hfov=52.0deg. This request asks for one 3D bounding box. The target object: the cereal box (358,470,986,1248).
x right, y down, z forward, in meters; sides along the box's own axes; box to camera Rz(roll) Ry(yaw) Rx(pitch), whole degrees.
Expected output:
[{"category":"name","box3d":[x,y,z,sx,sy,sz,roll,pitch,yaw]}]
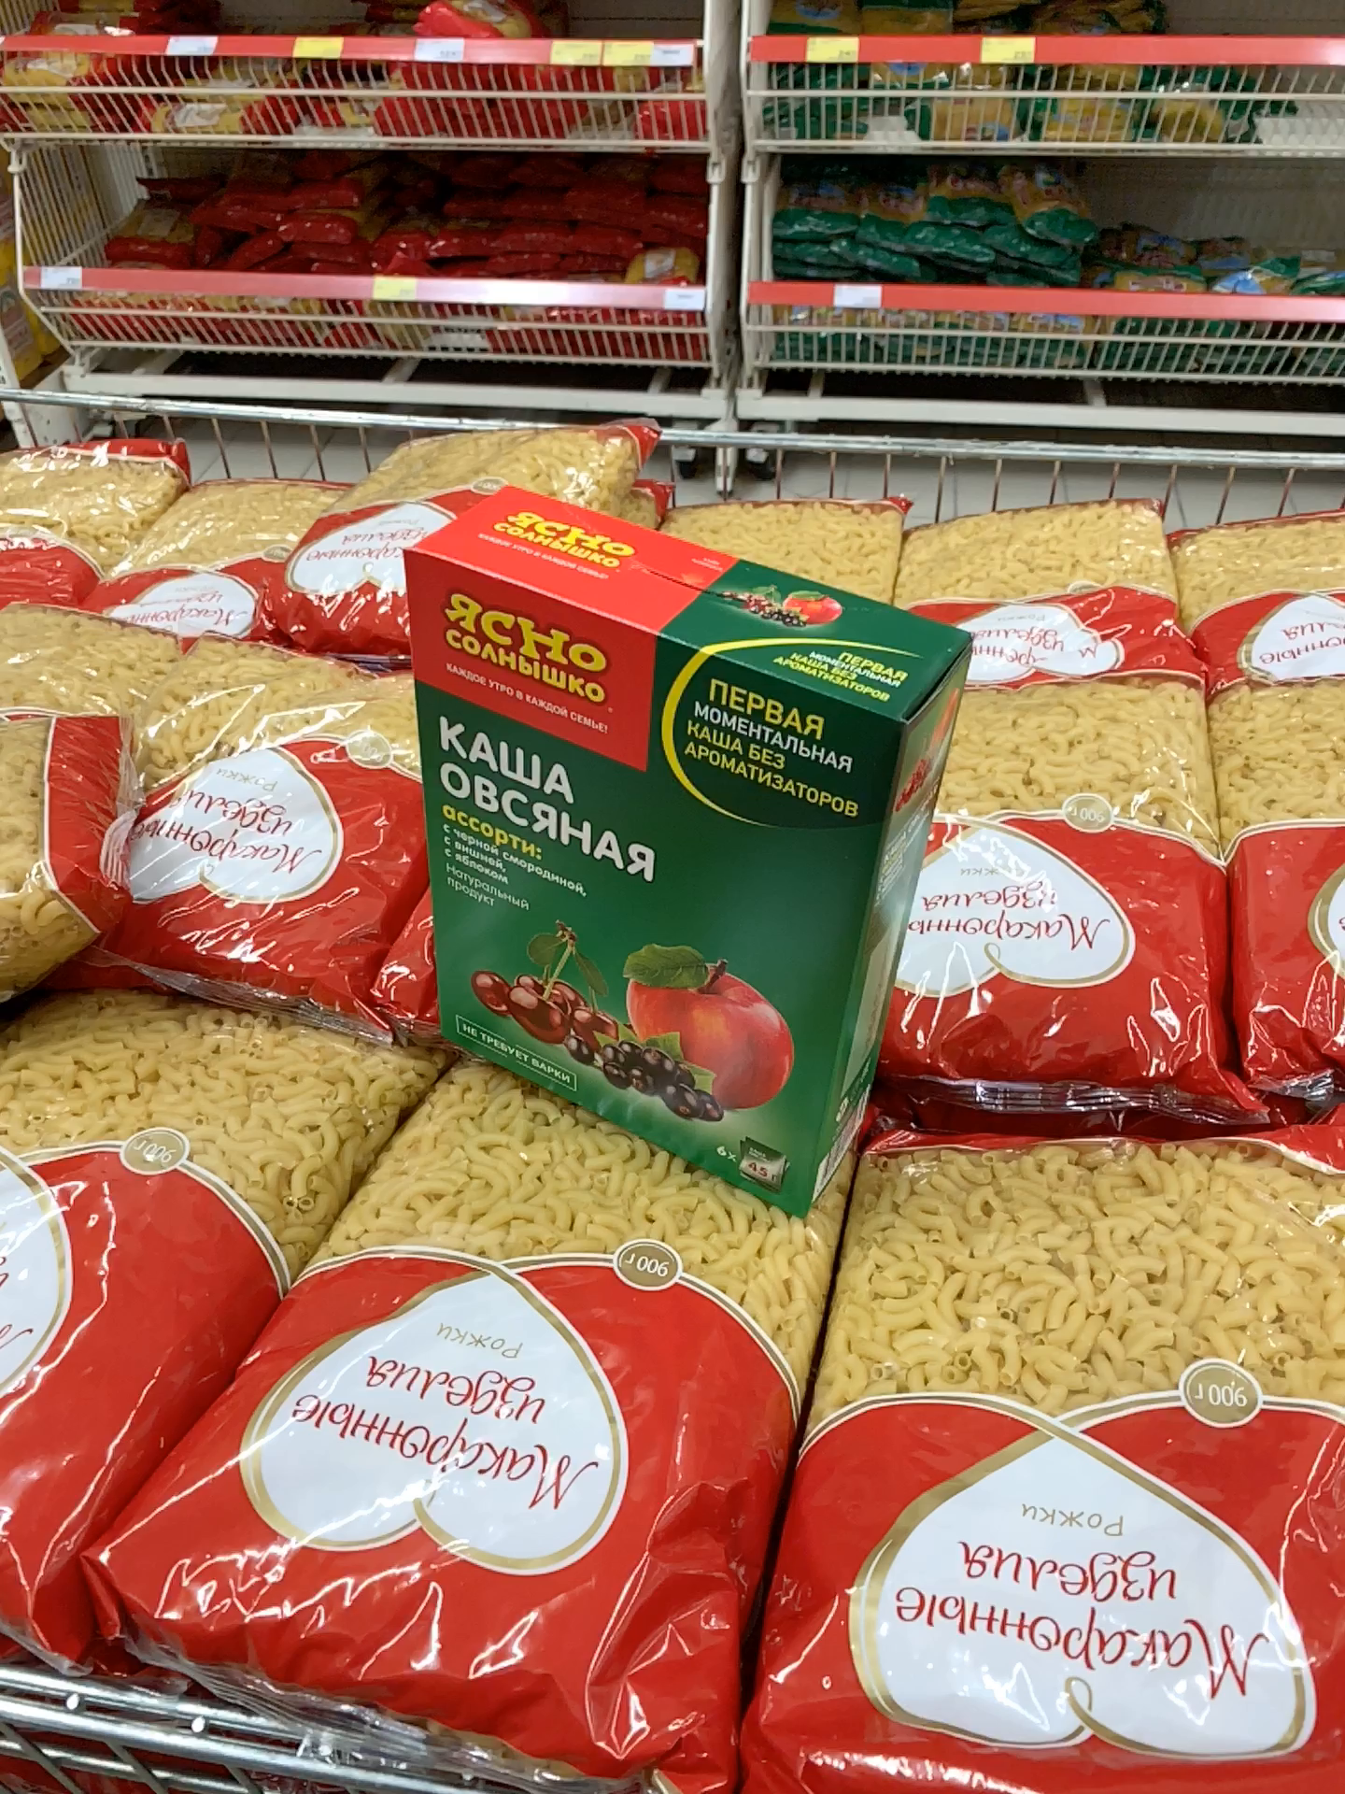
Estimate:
[{"category":"cereal box","box3d":[-0.008,-0.008,0.432,0.160,0.198,0.060,23,43,21]}]
